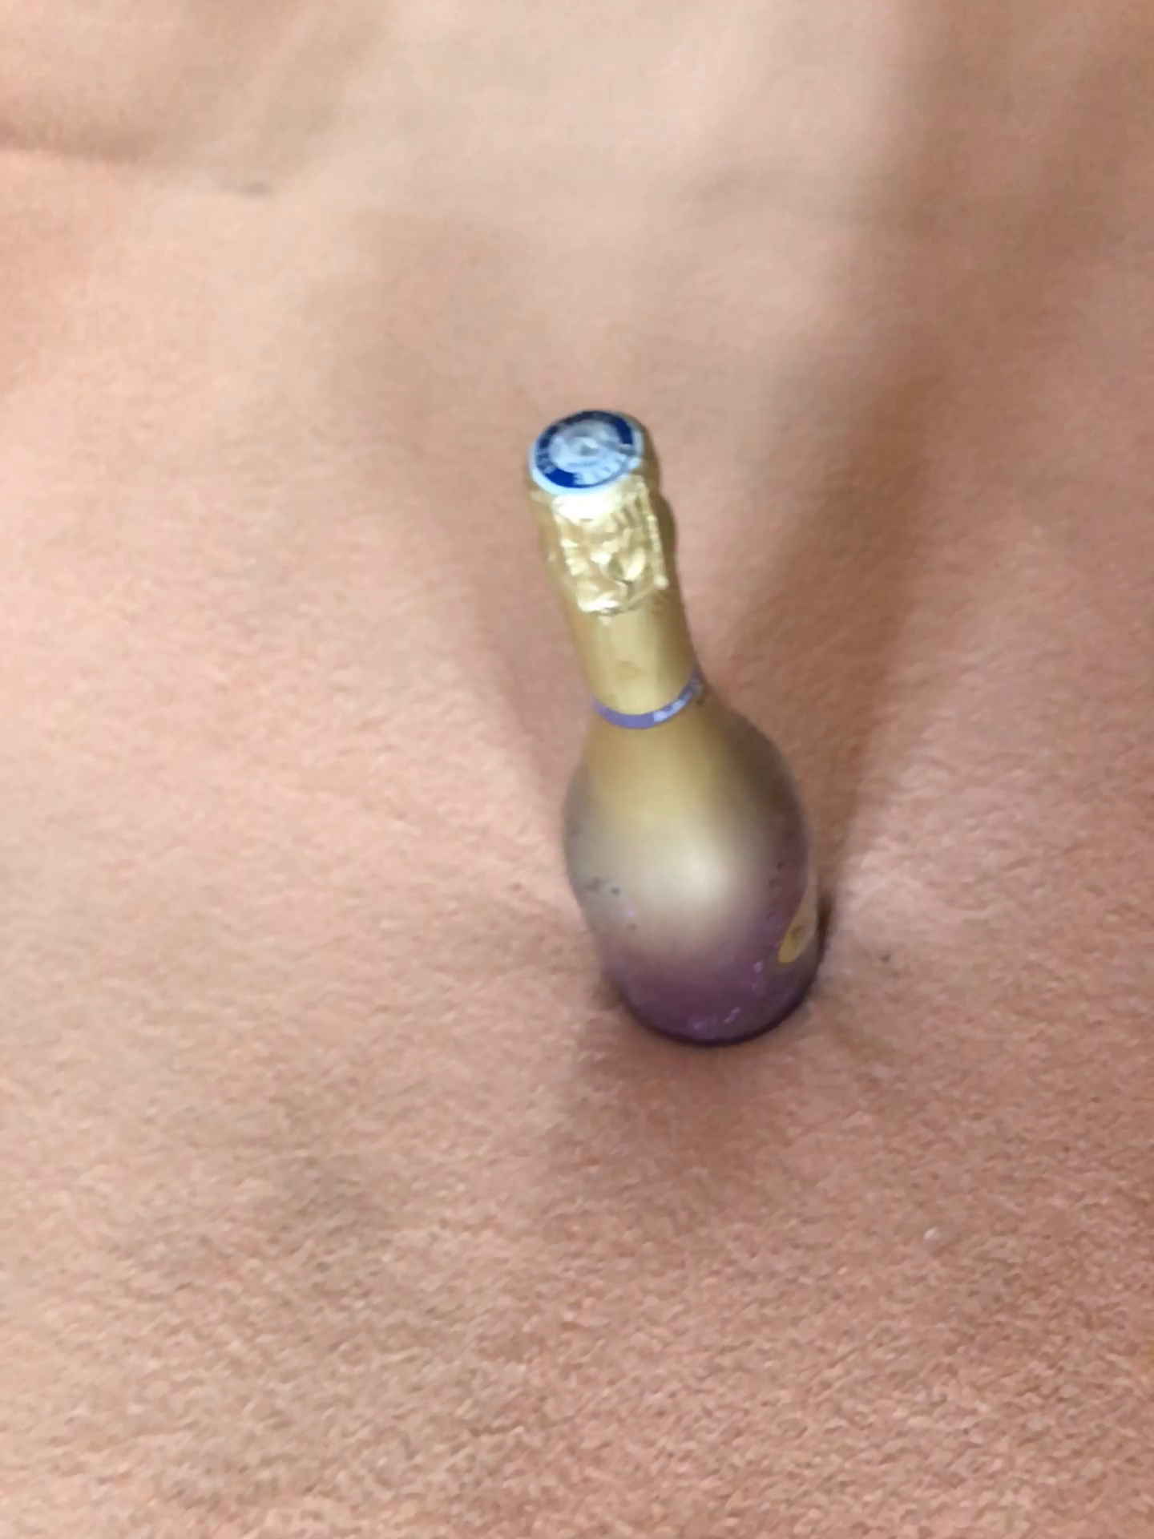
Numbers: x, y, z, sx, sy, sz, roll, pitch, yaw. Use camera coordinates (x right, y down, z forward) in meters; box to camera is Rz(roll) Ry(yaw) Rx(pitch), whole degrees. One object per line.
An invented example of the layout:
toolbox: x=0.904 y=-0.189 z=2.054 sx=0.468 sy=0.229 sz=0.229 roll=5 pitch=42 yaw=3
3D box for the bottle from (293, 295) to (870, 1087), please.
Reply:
bottle: x=0.031 y=0.005 z=0.411 sx=0.090 sy=0.309 sz=0.090 roll=-6 pitch=61 yaw=12
